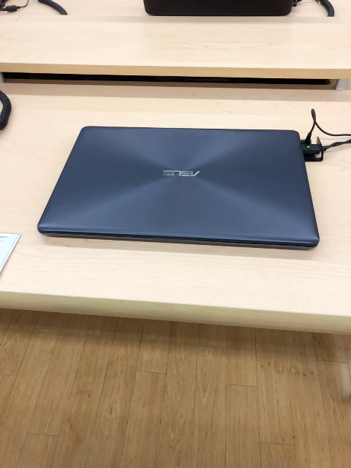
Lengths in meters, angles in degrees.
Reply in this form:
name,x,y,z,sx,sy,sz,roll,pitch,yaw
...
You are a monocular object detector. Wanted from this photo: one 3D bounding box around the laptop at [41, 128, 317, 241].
name,x,y,z,sx,sy,sz,roll,pitch,yaw
laptop,0.007,-0.085,0.557,0.345,0.002,0.229,3,48,5
